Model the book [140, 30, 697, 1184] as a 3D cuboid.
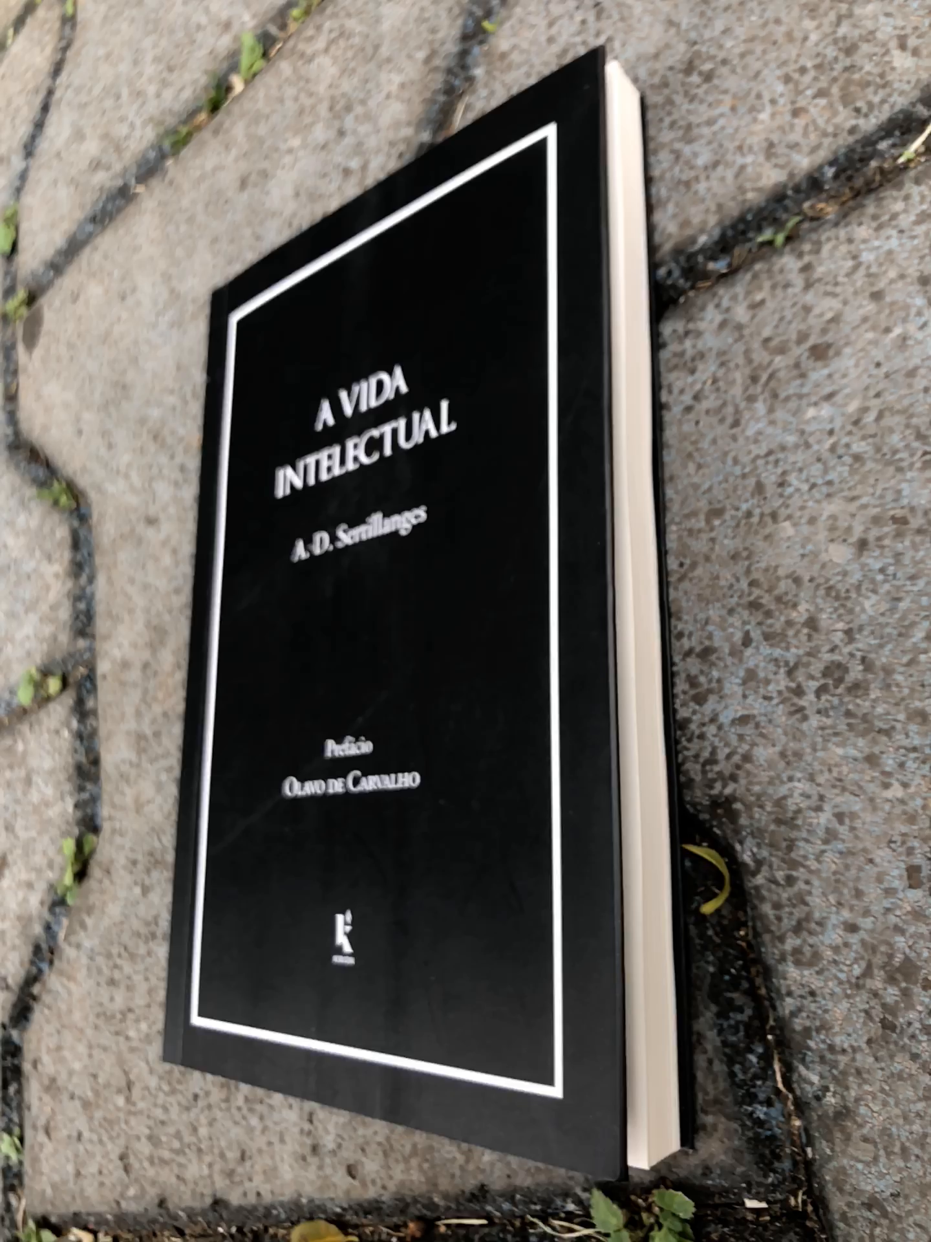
[{"bbox_3d":[-0.020,-0.002,0.227,0.137,0.020,0.196,-12,72,43],"label":"book"}]
